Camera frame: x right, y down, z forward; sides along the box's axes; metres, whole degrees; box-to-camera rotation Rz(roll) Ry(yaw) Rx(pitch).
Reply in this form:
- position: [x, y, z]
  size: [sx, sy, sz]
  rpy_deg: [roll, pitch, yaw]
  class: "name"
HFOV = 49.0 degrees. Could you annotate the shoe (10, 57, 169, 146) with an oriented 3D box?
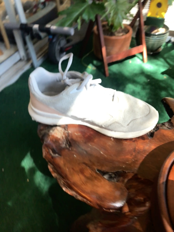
- position: [0.008, -0.035, 0.373]
  size: [0.263, 0.091, 0.103]
  rpy_deg: [10, 47, 12]
  class: "shoe"
